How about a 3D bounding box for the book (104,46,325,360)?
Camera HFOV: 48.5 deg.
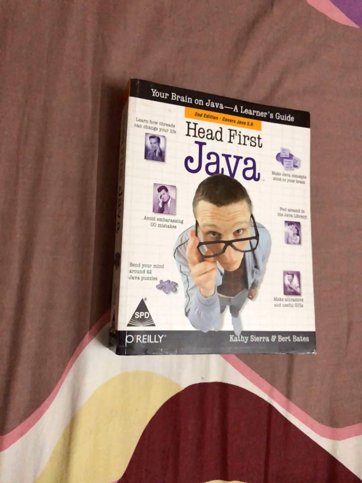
[{"bbox_3d":[0.035,-0.028,0.375,0.190,0.050,0.260,4,81,-17],"label":"book"}]
